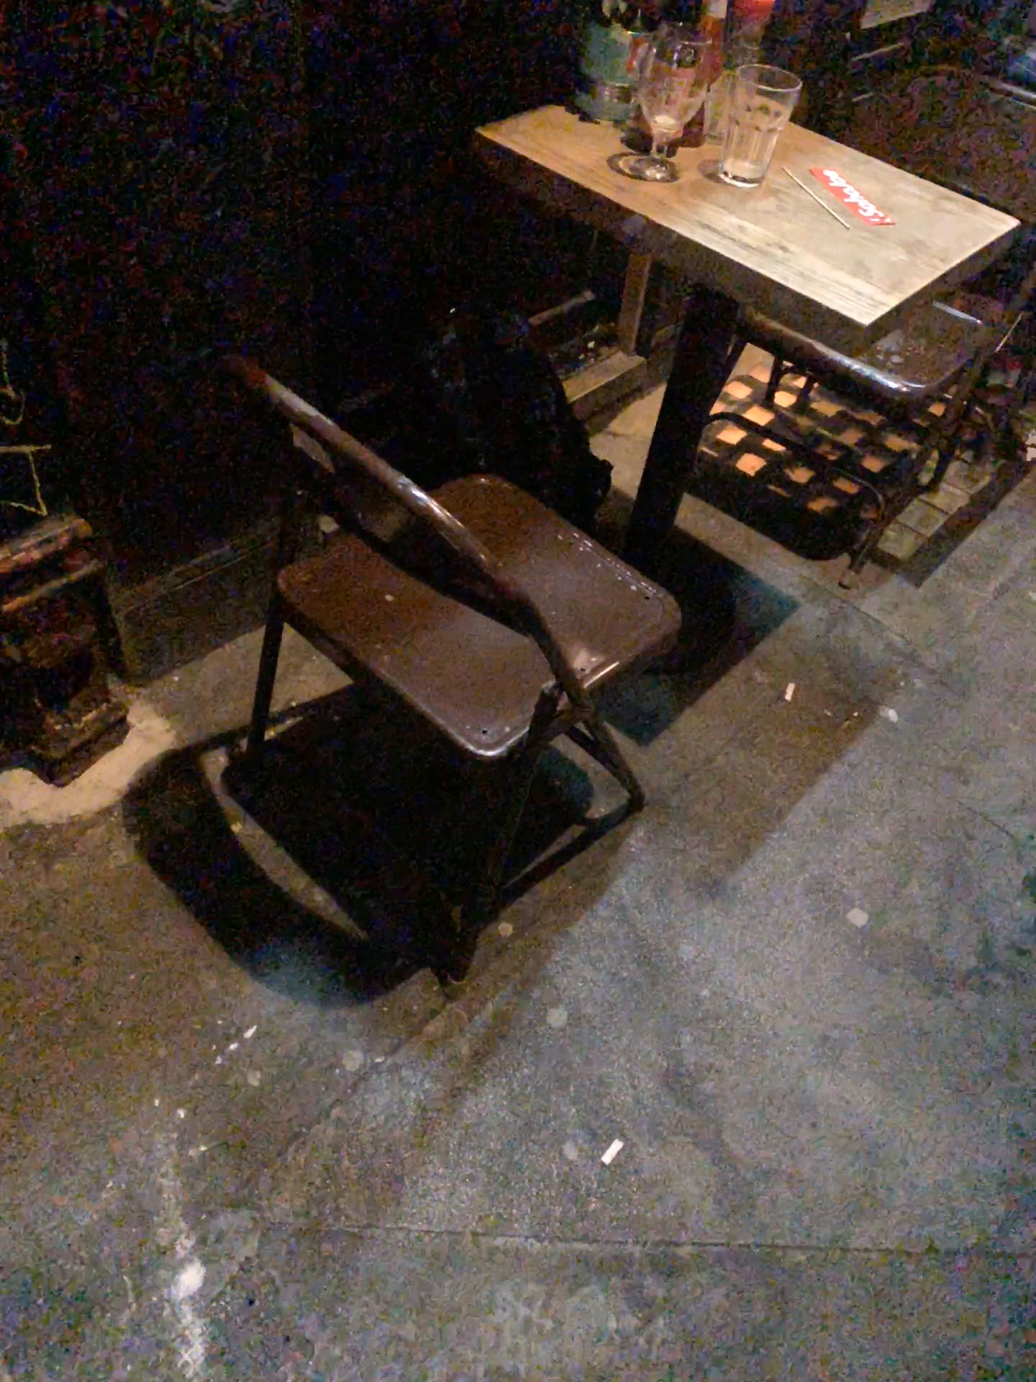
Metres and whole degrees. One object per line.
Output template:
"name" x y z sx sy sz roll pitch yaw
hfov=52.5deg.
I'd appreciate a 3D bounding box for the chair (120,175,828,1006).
"chair" -0.071 -0.119 1.267 0.492 0.723 0.483 36 51 26
